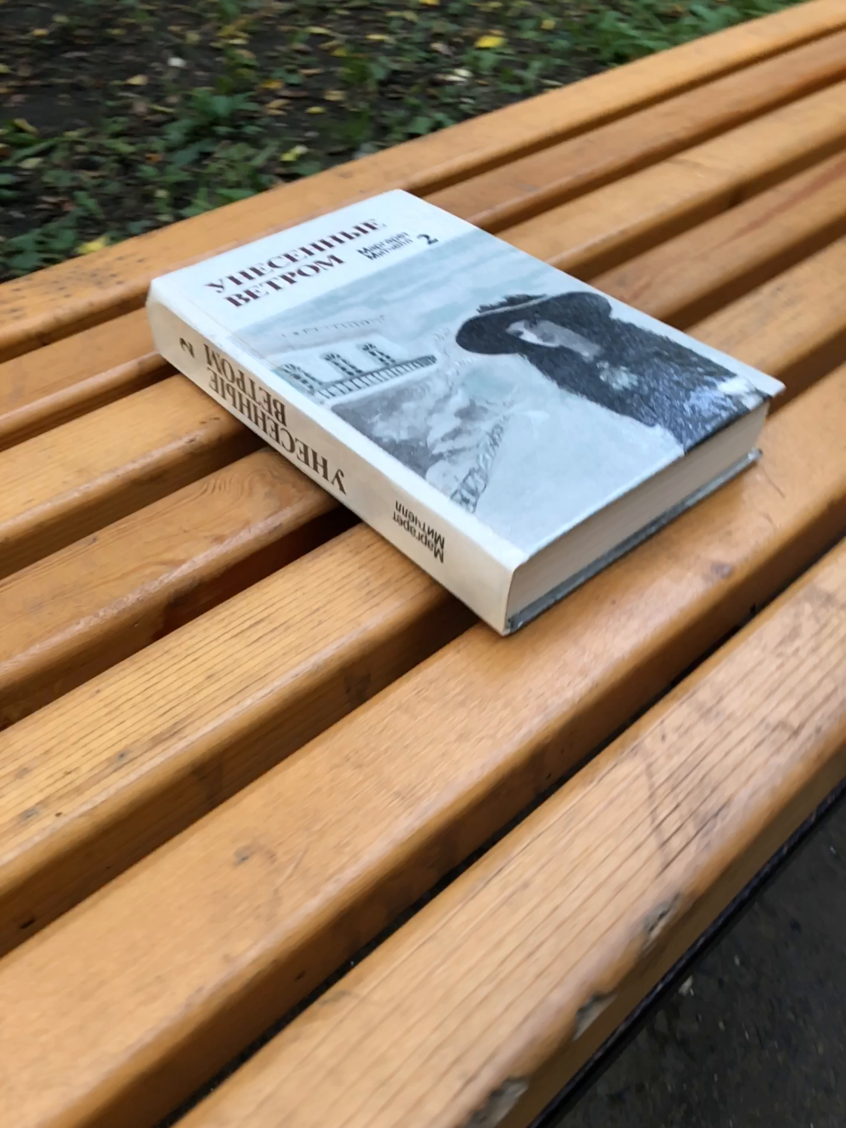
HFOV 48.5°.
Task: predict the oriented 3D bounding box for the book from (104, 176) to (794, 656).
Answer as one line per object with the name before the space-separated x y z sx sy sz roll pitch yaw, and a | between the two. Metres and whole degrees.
book | 0.001 -0.074 0.344 0.140 0.030 0.211 -32 54 -28
